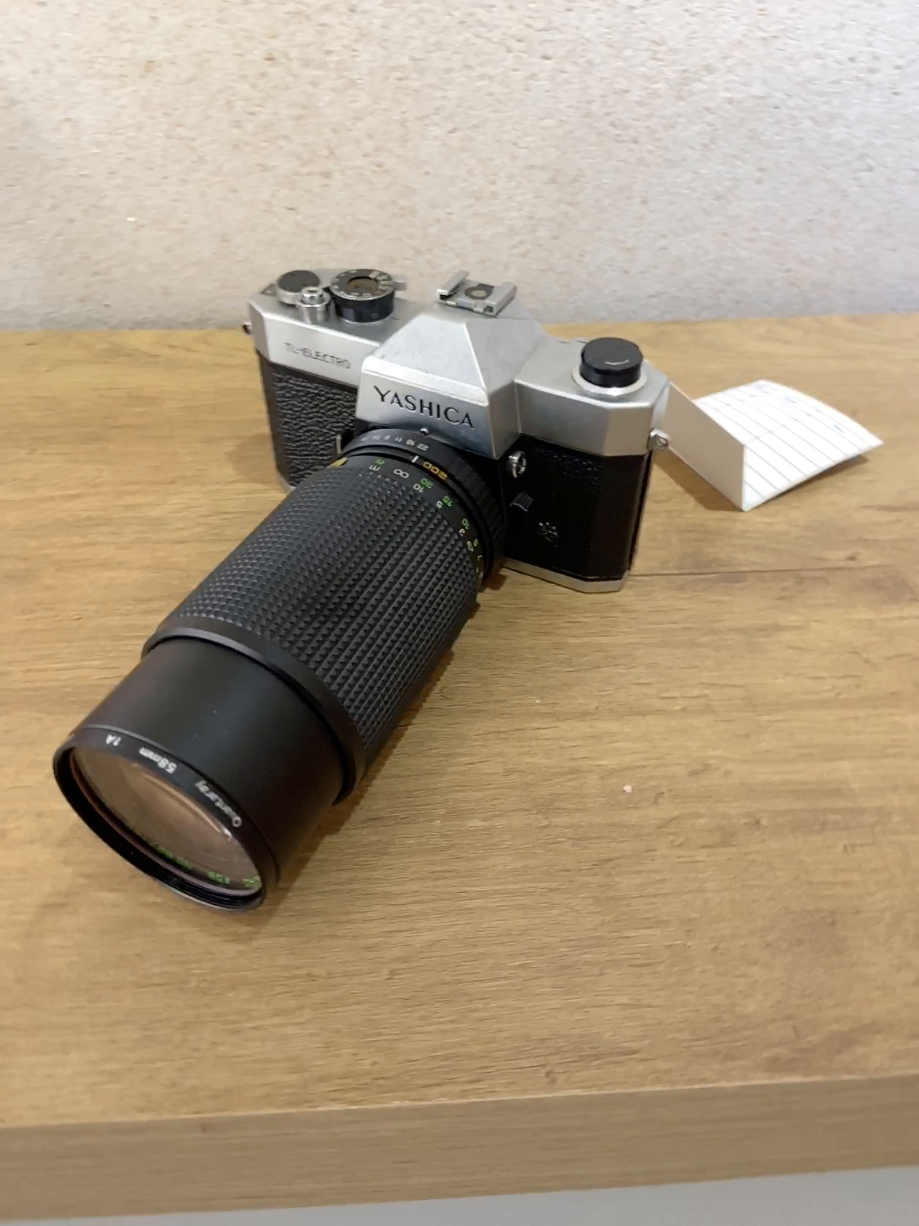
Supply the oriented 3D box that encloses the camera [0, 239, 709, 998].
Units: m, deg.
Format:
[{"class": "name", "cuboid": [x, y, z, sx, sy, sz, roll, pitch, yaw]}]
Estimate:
[{"class": "camera", "cuboid": [-0.037, -0.023, 0.292, 0.150, 0.080, 0.201, 22, 49, 22]}]
